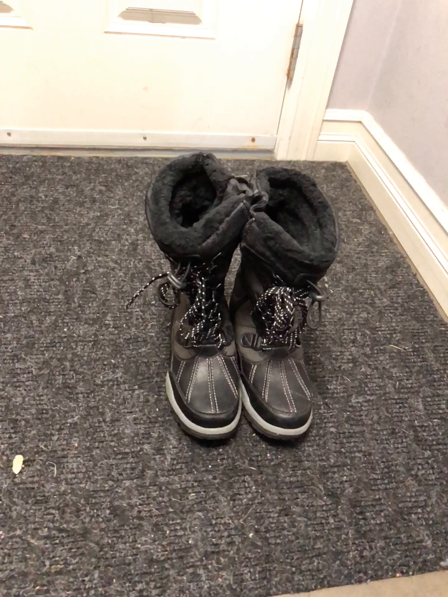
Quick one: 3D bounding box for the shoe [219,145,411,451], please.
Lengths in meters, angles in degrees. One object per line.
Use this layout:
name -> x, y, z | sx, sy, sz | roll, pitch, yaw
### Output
shoe -> 0.080, -0.003, 0.616 | 0.100, 0.269, 0.261 | -4, 45, -12

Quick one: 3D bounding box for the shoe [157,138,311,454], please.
shoe -> -0.015, -0.005, 0.597 | 0.110, 0.269, 0.261 | -3, 44, -11
